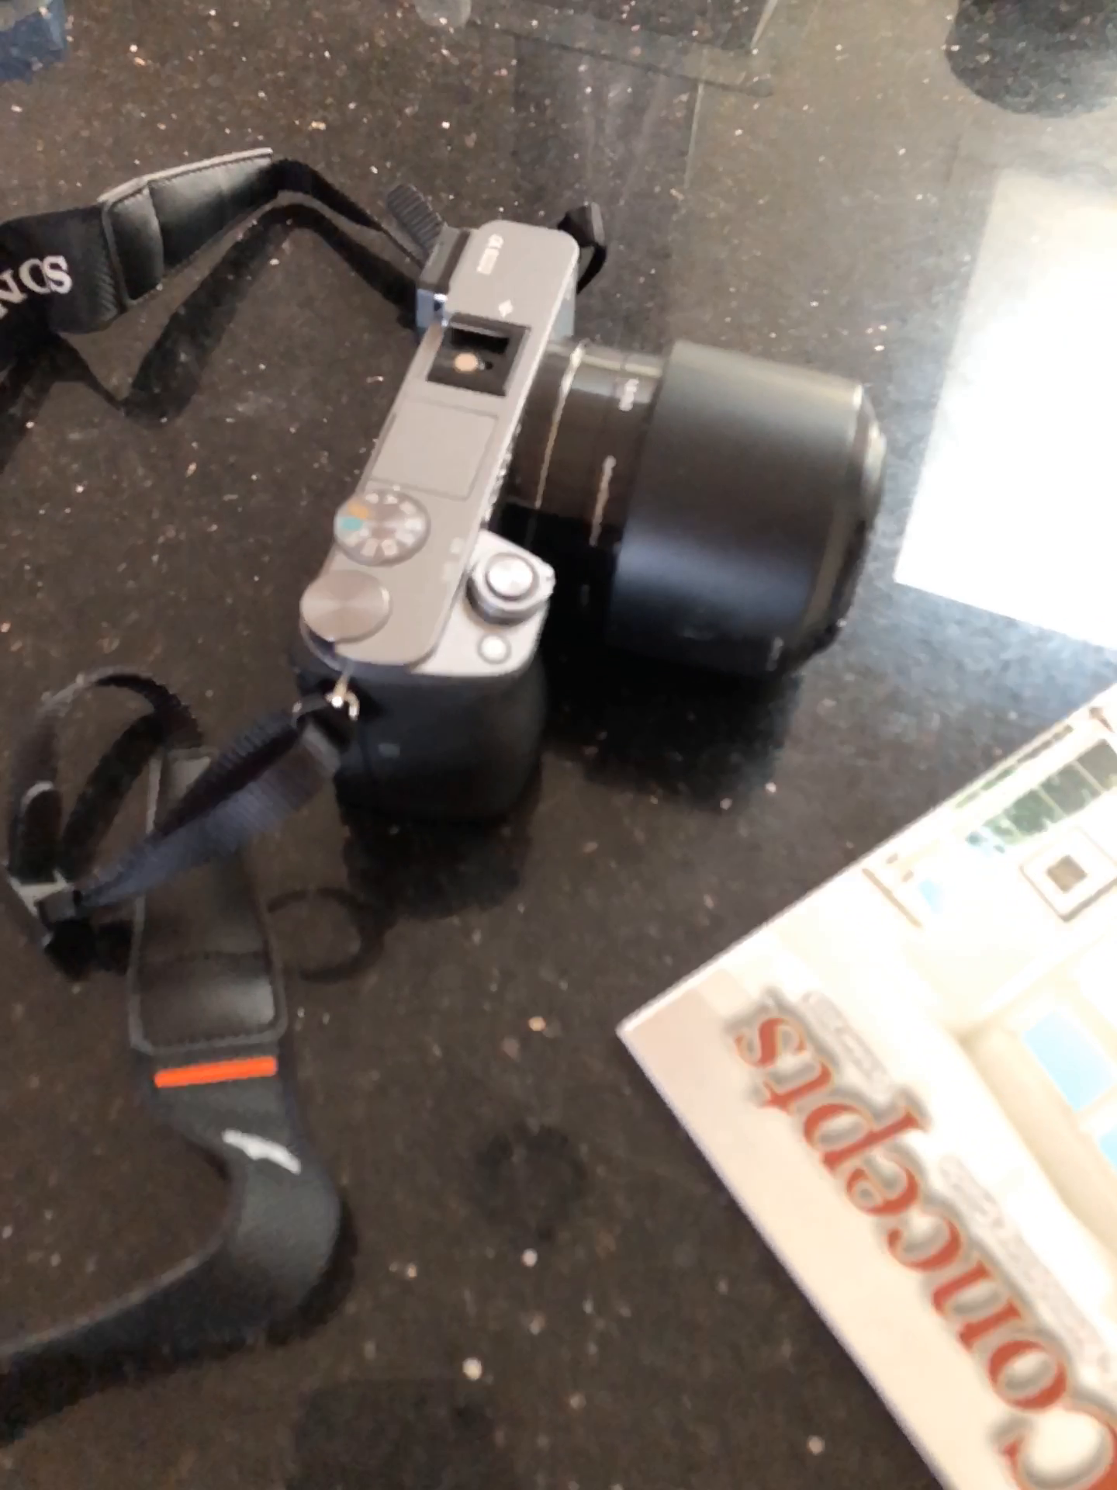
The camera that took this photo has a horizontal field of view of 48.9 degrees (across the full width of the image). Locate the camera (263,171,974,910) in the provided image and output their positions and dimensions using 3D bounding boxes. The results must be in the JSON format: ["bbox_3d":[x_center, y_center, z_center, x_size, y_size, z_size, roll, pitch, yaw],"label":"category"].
[{"bbox_3d":[0.017,-0.045,0.256,0.110,0.060,0.120,13,61,4],"label":"camera"}]
